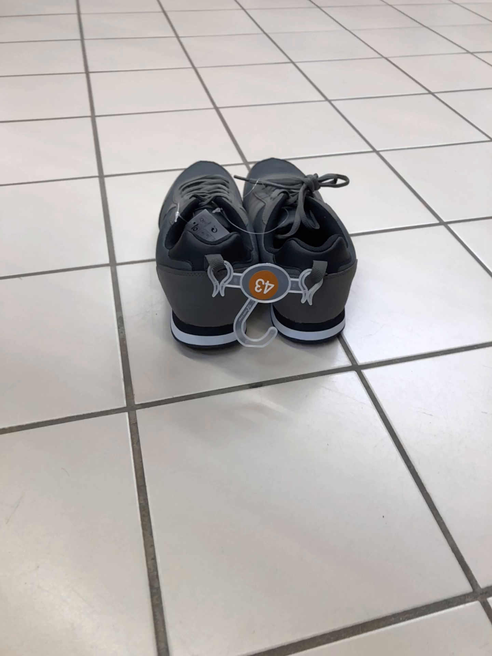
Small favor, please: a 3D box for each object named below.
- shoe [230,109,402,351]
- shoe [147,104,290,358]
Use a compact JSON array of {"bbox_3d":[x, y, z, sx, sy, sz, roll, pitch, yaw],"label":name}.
[{"bbox_3d":[0.051,-0.119,0.562,0.100,0.099,0.292,-5,43,-7],"label":"shoe"},{"bbox_3d":[-0.039,-0.114,0.534,0.100,0.099,0.292,-5,43,-7],"label":"shoe"}]
